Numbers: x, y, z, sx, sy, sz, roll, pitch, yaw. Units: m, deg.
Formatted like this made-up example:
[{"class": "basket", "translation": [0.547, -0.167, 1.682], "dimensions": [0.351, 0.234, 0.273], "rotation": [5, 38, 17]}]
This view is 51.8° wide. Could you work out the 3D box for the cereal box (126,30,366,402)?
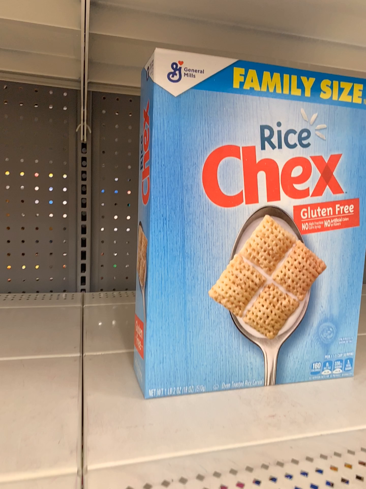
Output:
[{"class": "cereal box", "translation": [0.073, -0.020, 0.394], "dimensions": [0.250, 0.319, 0.080], "rotation": [0, 8, -15]}]
